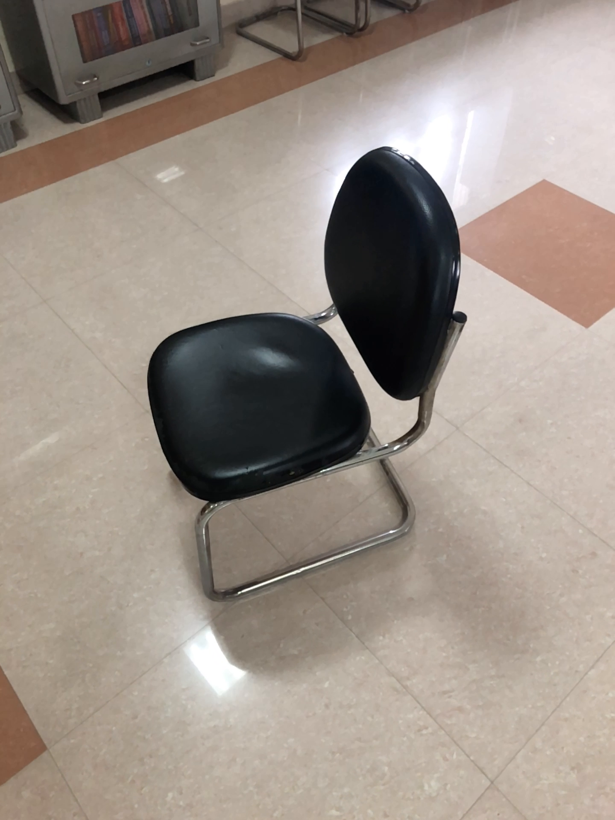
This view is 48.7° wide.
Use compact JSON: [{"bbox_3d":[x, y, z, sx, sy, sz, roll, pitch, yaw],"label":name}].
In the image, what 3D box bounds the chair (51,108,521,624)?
[{"bbox_3d":[-0.063,-0.061,1.338,0.590,0.758,0.501,-16,52,-14],"label":"chair"}]
